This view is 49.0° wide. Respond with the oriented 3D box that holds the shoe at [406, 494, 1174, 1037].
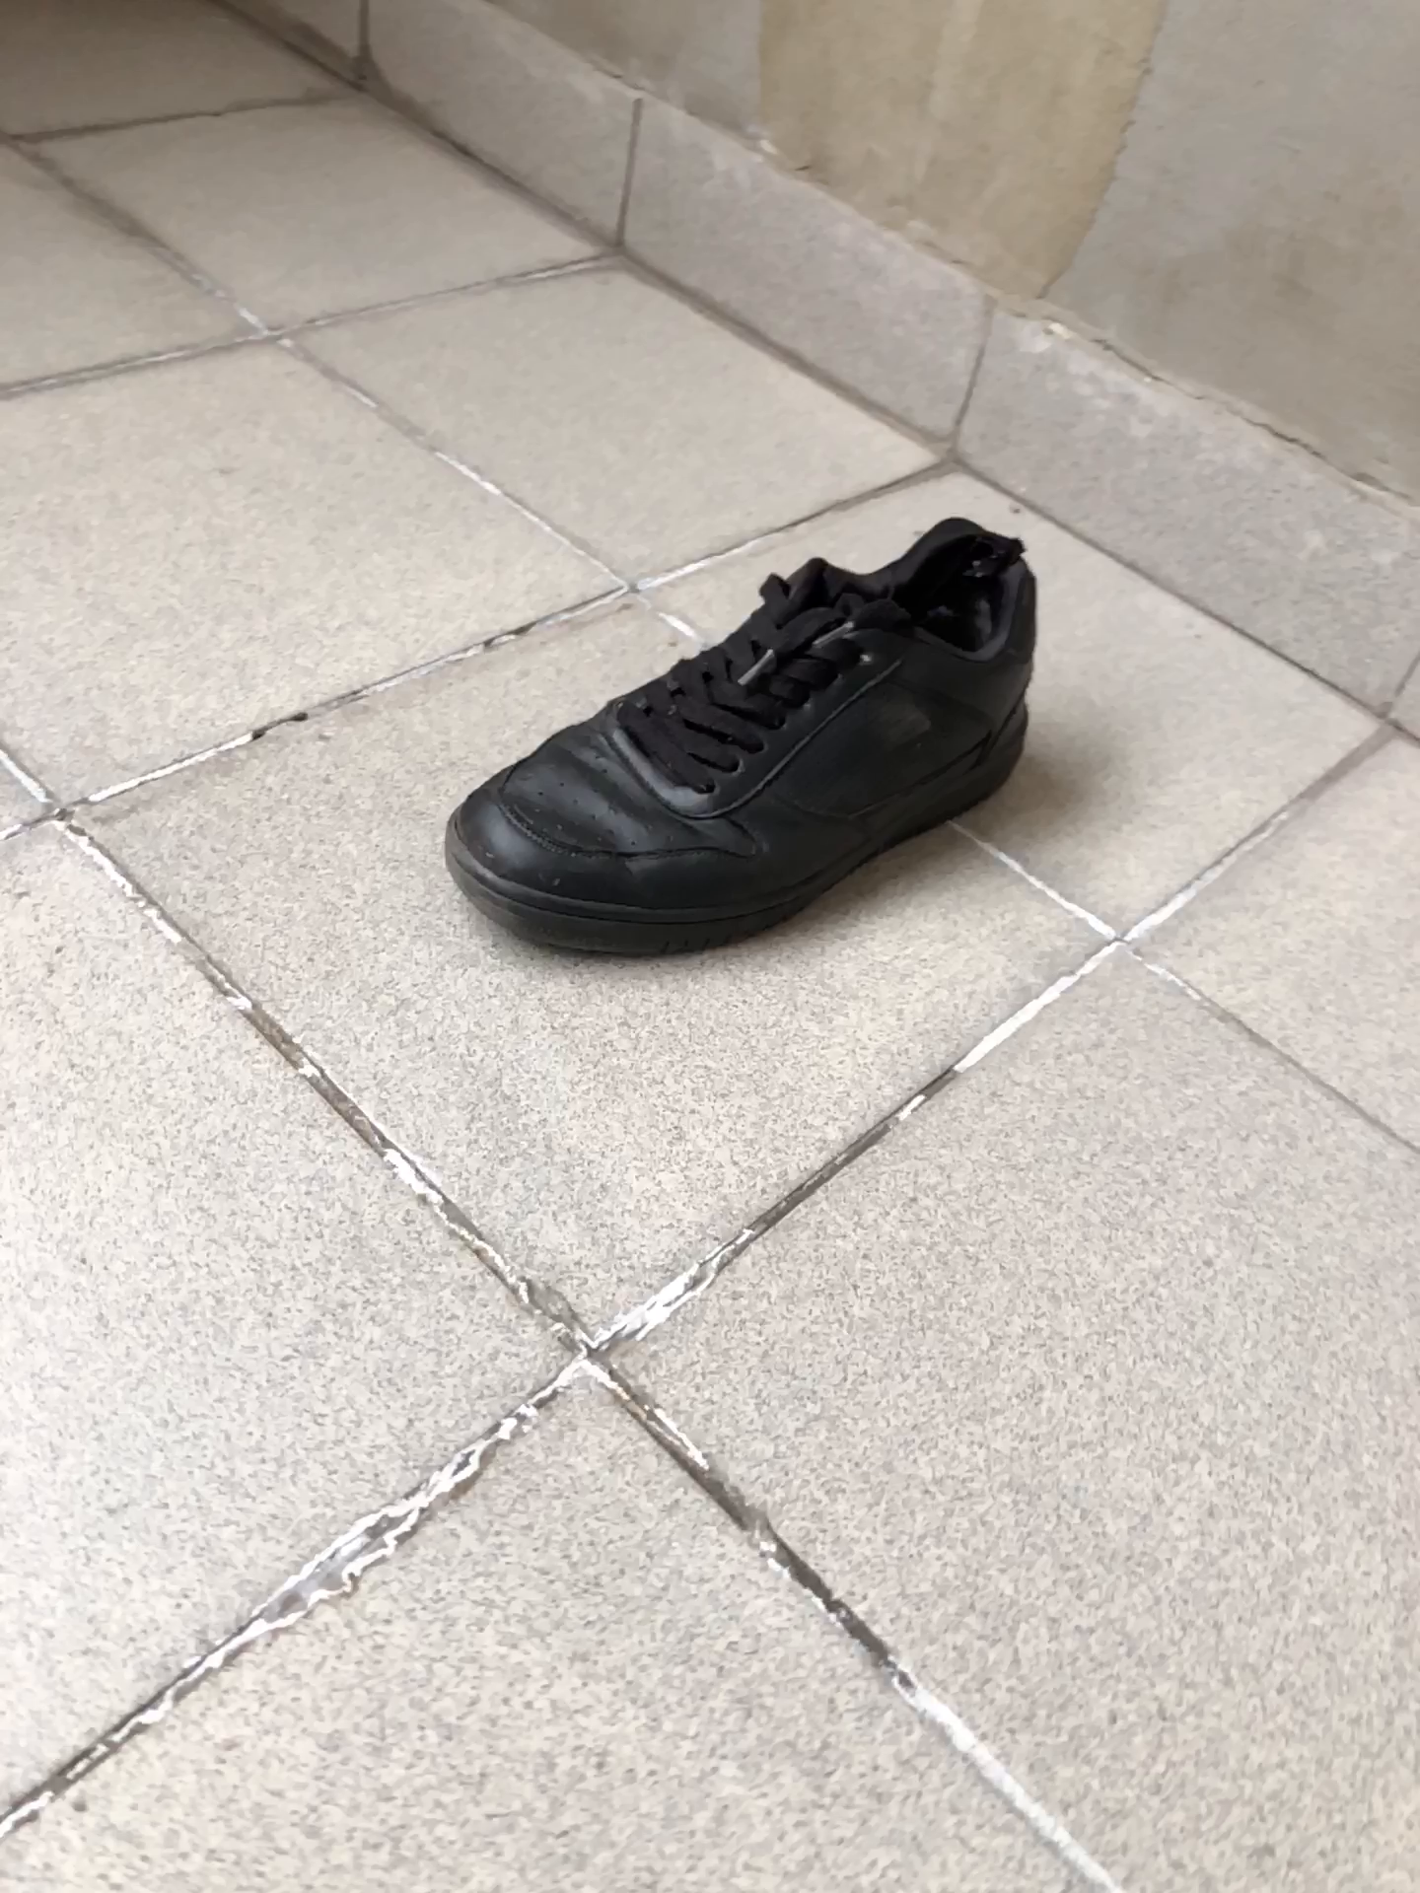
[{"bbox_3d":[0.036,-0.085,0.631,0.291,0.099,0.110,-23,56,-31],"label":"shoe"}]
